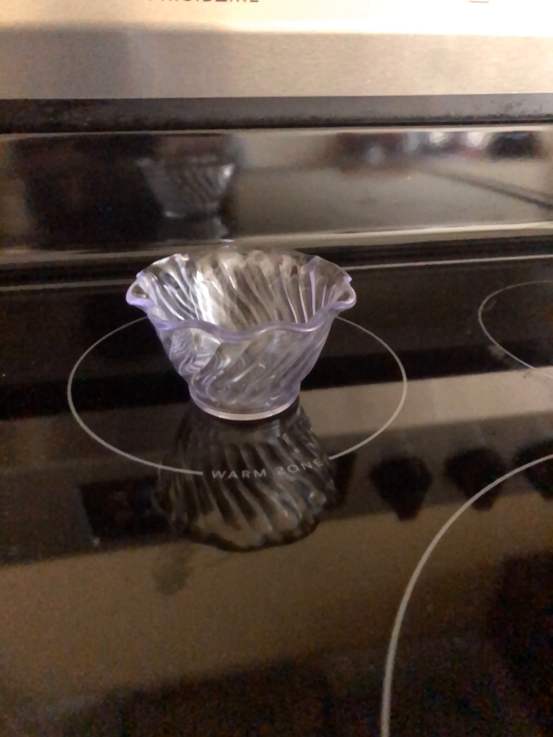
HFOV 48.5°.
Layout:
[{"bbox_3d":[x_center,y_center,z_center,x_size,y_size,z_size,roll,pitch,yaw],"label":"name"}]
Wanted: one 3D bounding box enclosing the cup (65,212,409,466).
[{"bbox_3d":[-0.014,-0.023,0.267,0.100,0.052,0.101,0,29,0],"label":"cup"}]
